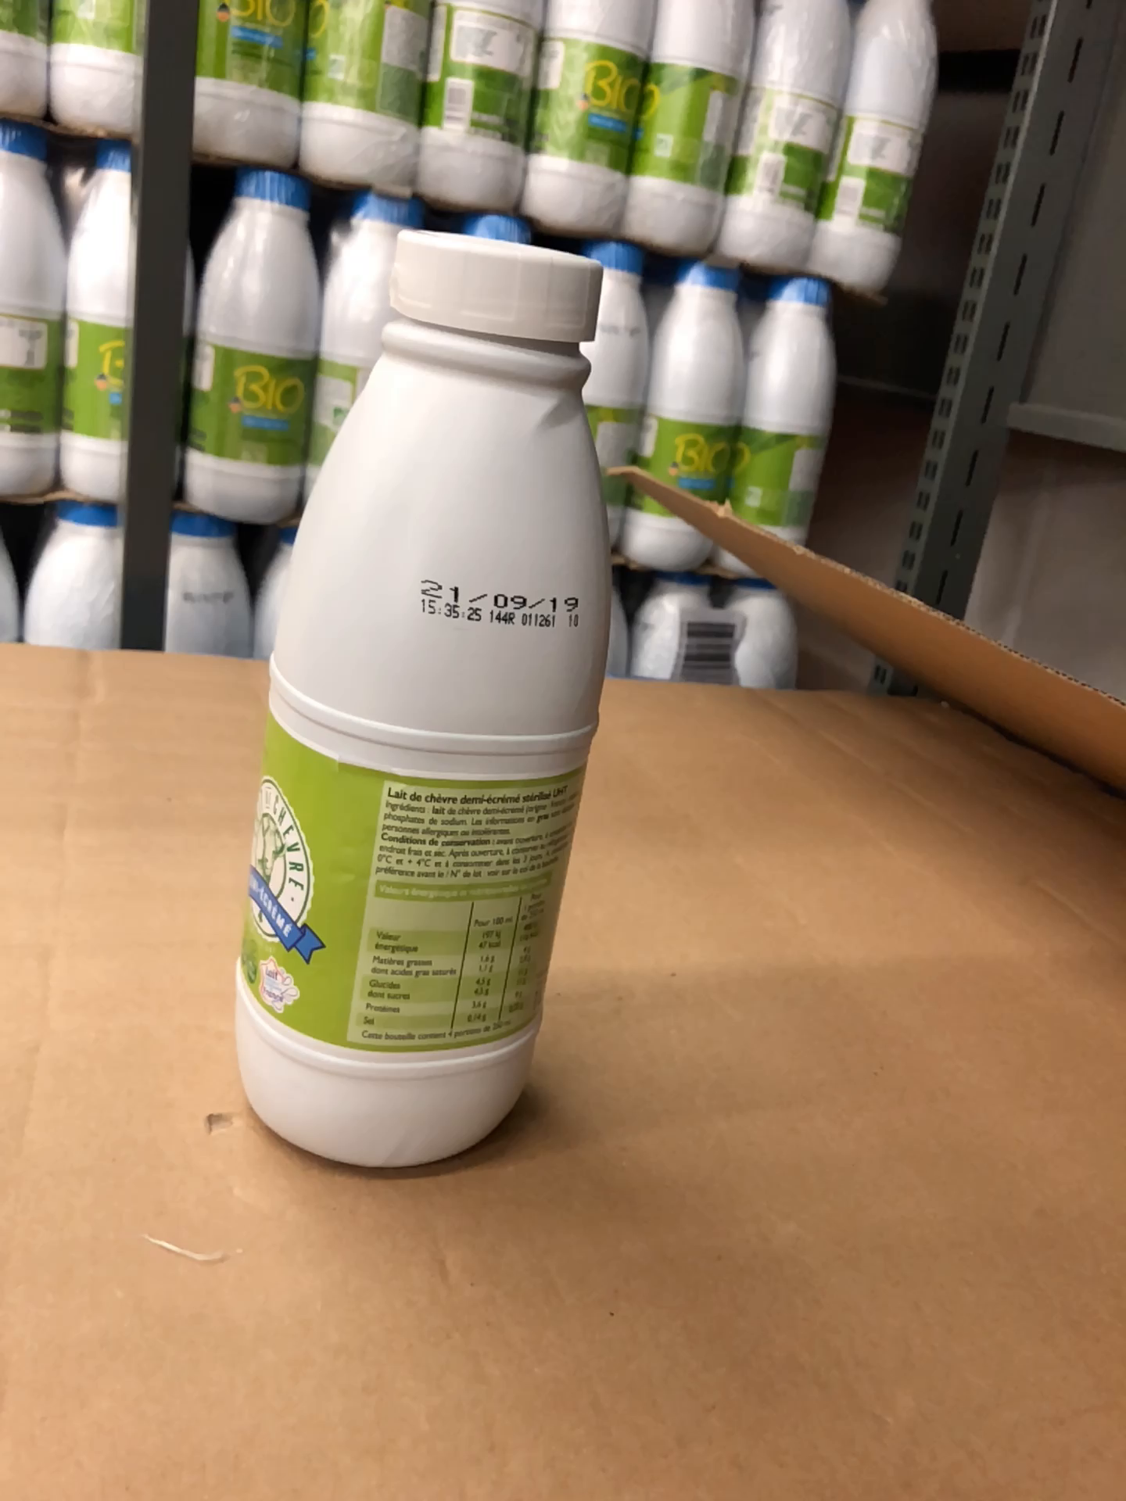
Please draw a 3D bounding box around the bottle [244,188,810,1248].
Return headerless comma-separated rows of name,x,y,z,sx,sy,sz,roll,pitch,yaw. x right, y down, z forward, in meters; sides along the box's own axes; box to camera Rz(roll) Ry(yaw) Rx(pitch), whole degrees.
bottle,-0.022,-0.010,0.327,0.080,0.239,0.100,-1,20,-29
